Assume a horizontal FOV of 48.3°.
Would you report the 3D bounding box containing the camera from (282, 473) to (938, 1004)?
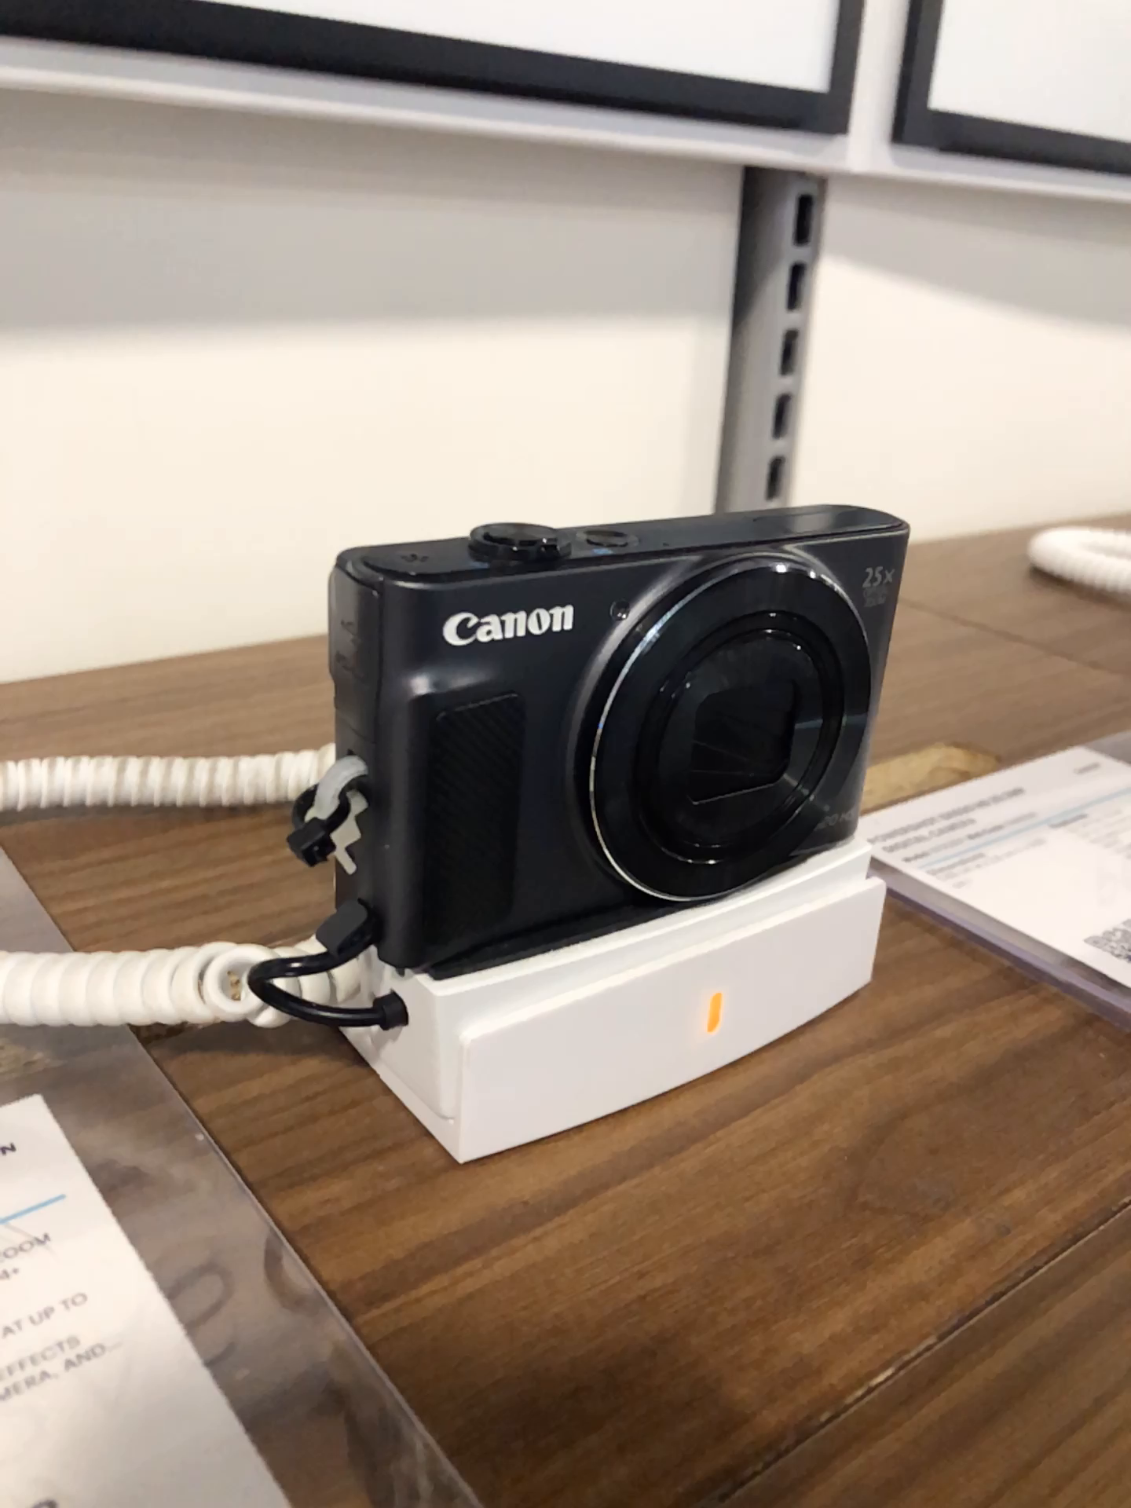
[{"bbox_3d":[0.010,-0.009,0.197,0.100,0.060,0.030,-13,26,-35],"label":"camera"}]
